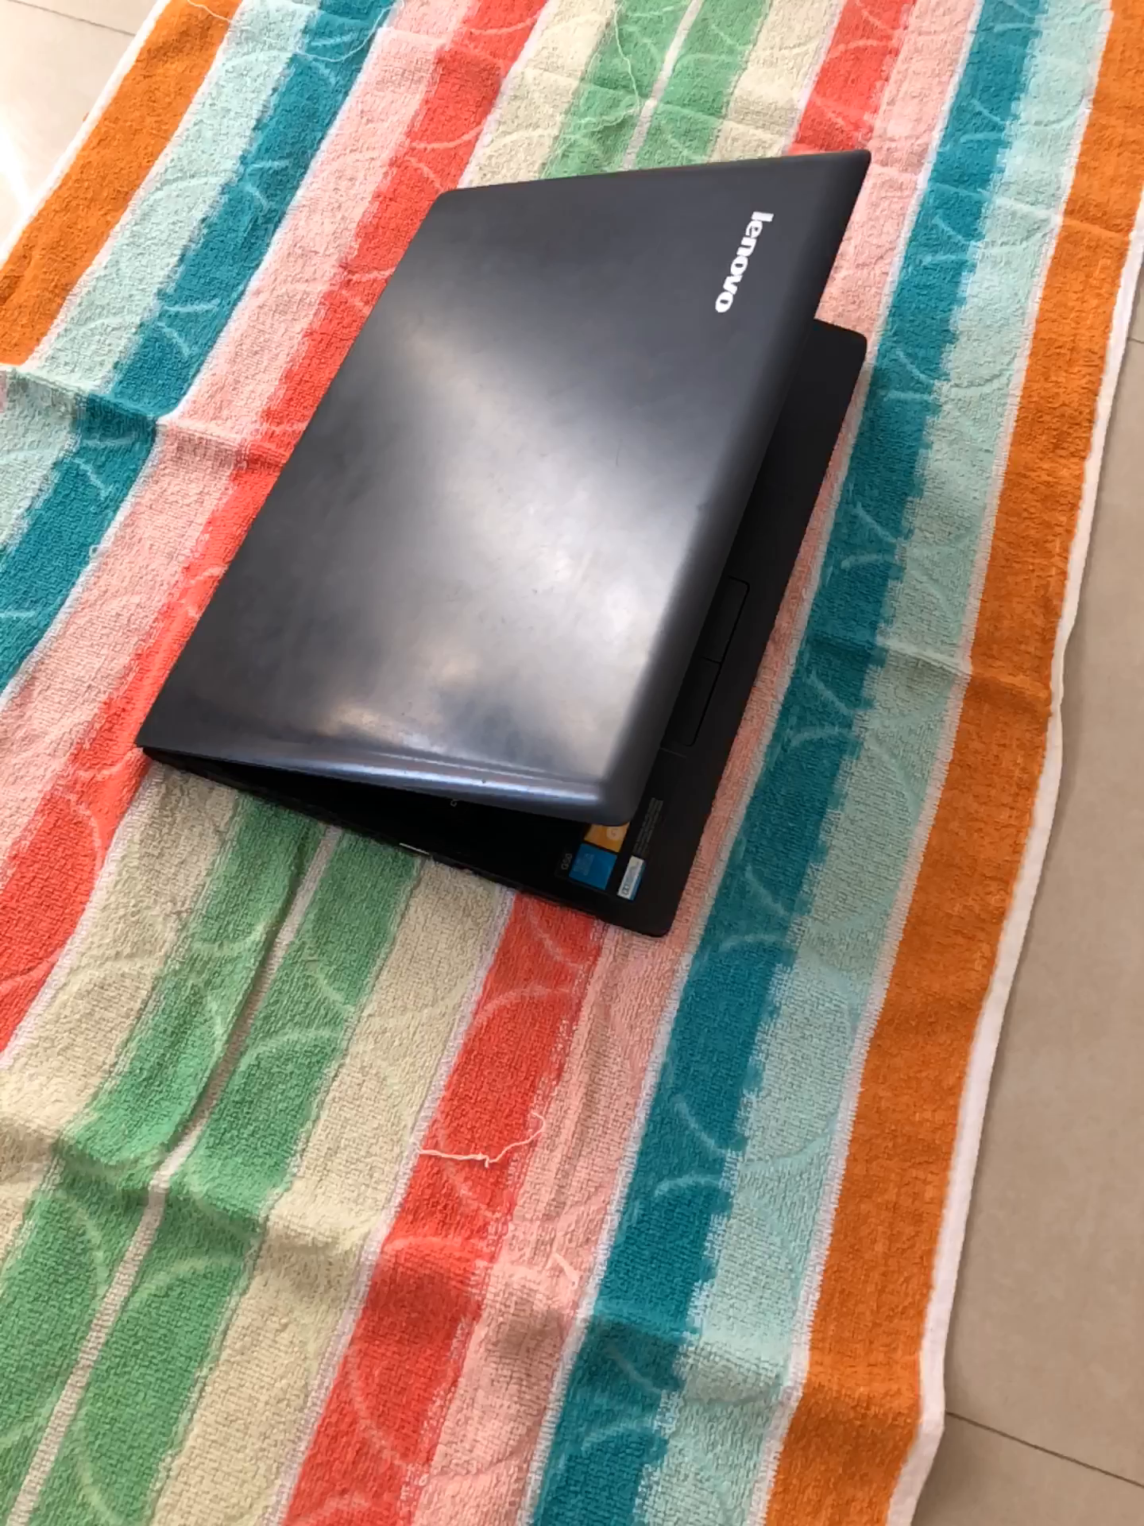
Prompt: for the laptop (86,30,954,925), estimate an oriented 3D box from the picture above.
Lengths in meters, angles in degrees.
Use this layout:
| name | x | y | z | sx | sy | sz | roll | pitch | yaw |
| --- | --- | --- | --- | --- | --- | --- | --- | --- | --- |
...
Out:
| name | x | y | z | sx | sy | sz | roll | pitch | yaw |
| --- | --- | --- | --- | --- | --- | --- | --- | --- | --- |
| laptop | -0.006 | -0.147 | 0.592 | 0.252 | 0.126 | 0.365 | 19 | 66 | 8 |
